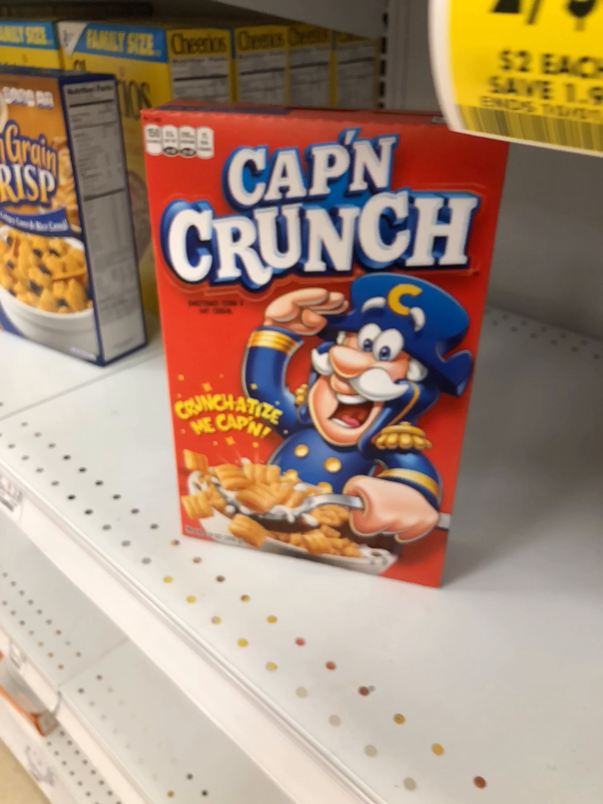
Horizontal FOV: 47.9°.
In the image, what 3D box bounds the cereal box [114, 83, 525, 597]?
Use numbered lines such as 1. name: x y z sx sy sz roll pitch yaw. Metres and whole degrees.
1. cereal box: 0.010 -0.031 0.443 0.210 0.309 0.070 9 32 14
